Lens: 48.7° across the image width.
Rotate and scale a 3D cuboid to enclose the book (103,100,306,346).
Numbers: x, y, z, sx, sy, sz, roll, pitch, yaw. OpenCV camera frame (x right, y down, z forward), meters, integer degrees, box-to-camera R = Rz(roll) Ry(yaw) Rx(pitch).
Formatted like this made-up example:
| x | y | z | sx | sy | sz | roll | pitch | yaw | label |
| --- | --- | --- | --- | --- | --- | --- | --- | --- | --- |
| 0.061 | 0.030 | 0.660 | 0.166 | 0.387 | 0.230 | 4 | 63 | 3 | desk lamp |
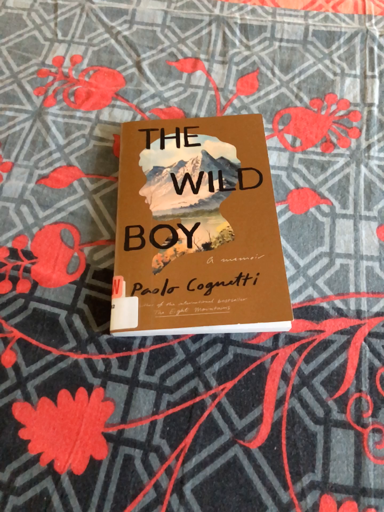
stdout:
| x | y | z | sx | sy | sz | roll | pitch | yaw | label |
| --- | --- | --- | --- | --- | --- | --- | --- | --- | --- |
| 0.005 | -0.040 | 0.380 | 0.150 | 0.030 | 0.230 | -4 | 62 | 3 | book |
